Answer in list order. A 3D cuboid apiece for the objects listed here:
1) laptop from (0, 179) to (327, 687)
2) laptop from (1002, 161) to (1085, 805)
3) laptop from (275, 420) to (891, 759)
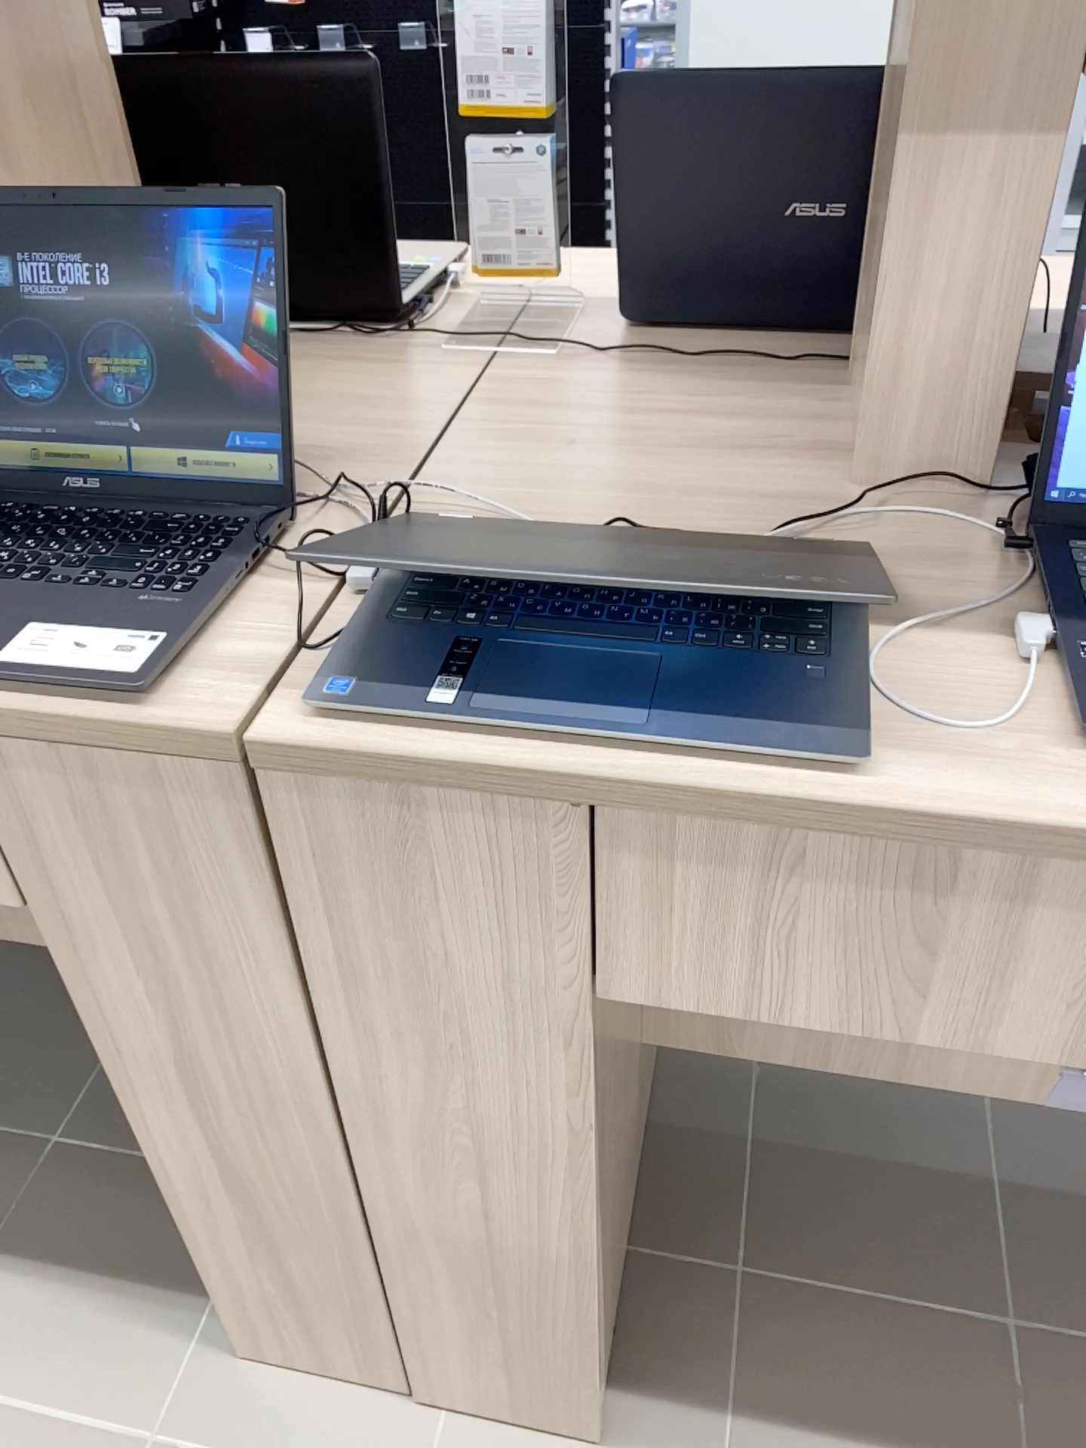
[{"bbox_3d":[-0.386,-0.218,0.751,0.352,0.212,0.309,6,38,11],"label":"laptop"},{"bbox_3d":[0.510,-0.159,0.616,0.389,0.215,0.304,5,38,9],"label":"laptop"},{"bbox_3d":[0.037,-0.097,0.680,0.325,0.082,0.219,6,39,12],"label":"laptop"}]
